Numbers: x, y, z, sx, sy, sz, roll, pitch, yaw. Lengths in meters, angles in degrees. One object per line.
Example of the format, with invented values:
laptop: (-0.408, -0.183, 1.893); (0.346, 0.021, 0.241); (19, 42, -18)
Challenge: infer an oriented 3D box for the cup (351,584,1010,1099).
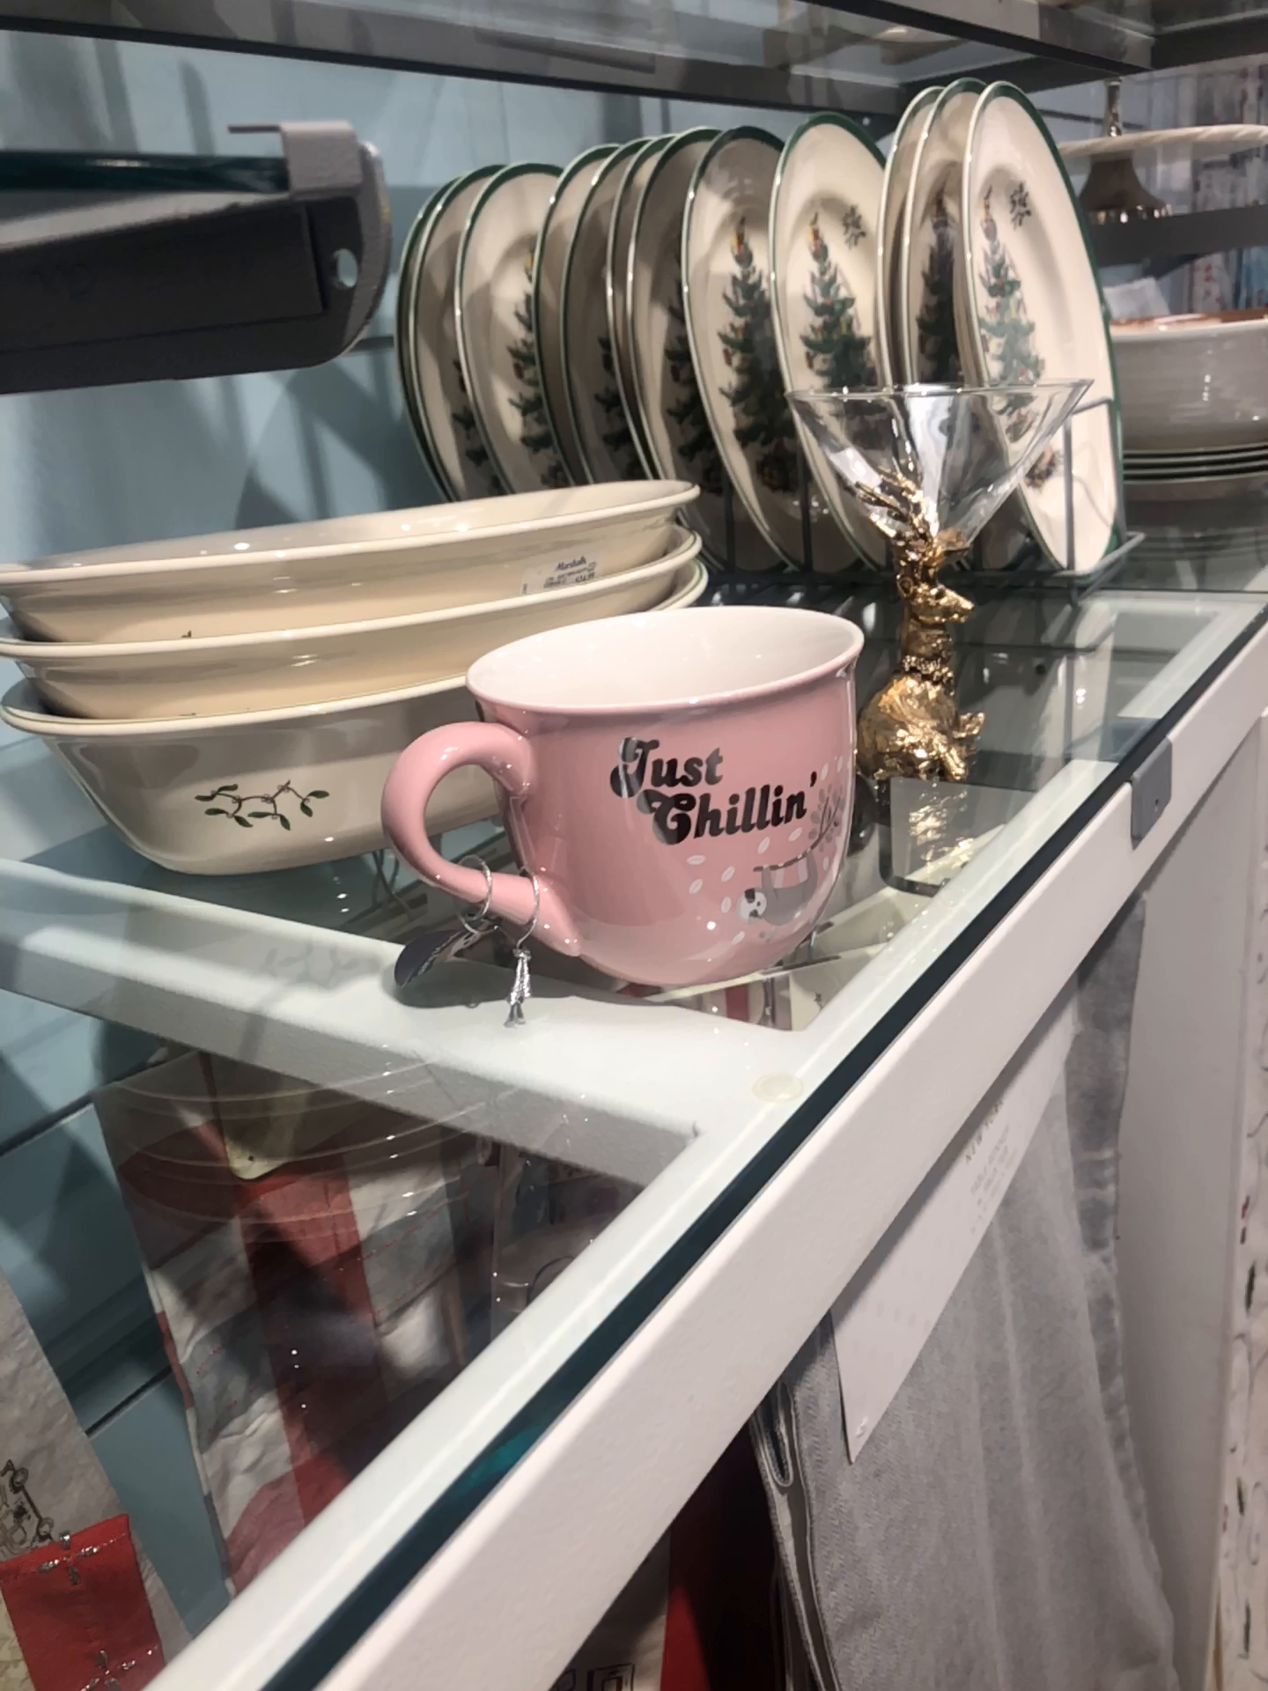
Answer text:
cup: (0.015, -0.013, 0.388); (0.136, 0.085, 0.112); (-19, 25, -34)
